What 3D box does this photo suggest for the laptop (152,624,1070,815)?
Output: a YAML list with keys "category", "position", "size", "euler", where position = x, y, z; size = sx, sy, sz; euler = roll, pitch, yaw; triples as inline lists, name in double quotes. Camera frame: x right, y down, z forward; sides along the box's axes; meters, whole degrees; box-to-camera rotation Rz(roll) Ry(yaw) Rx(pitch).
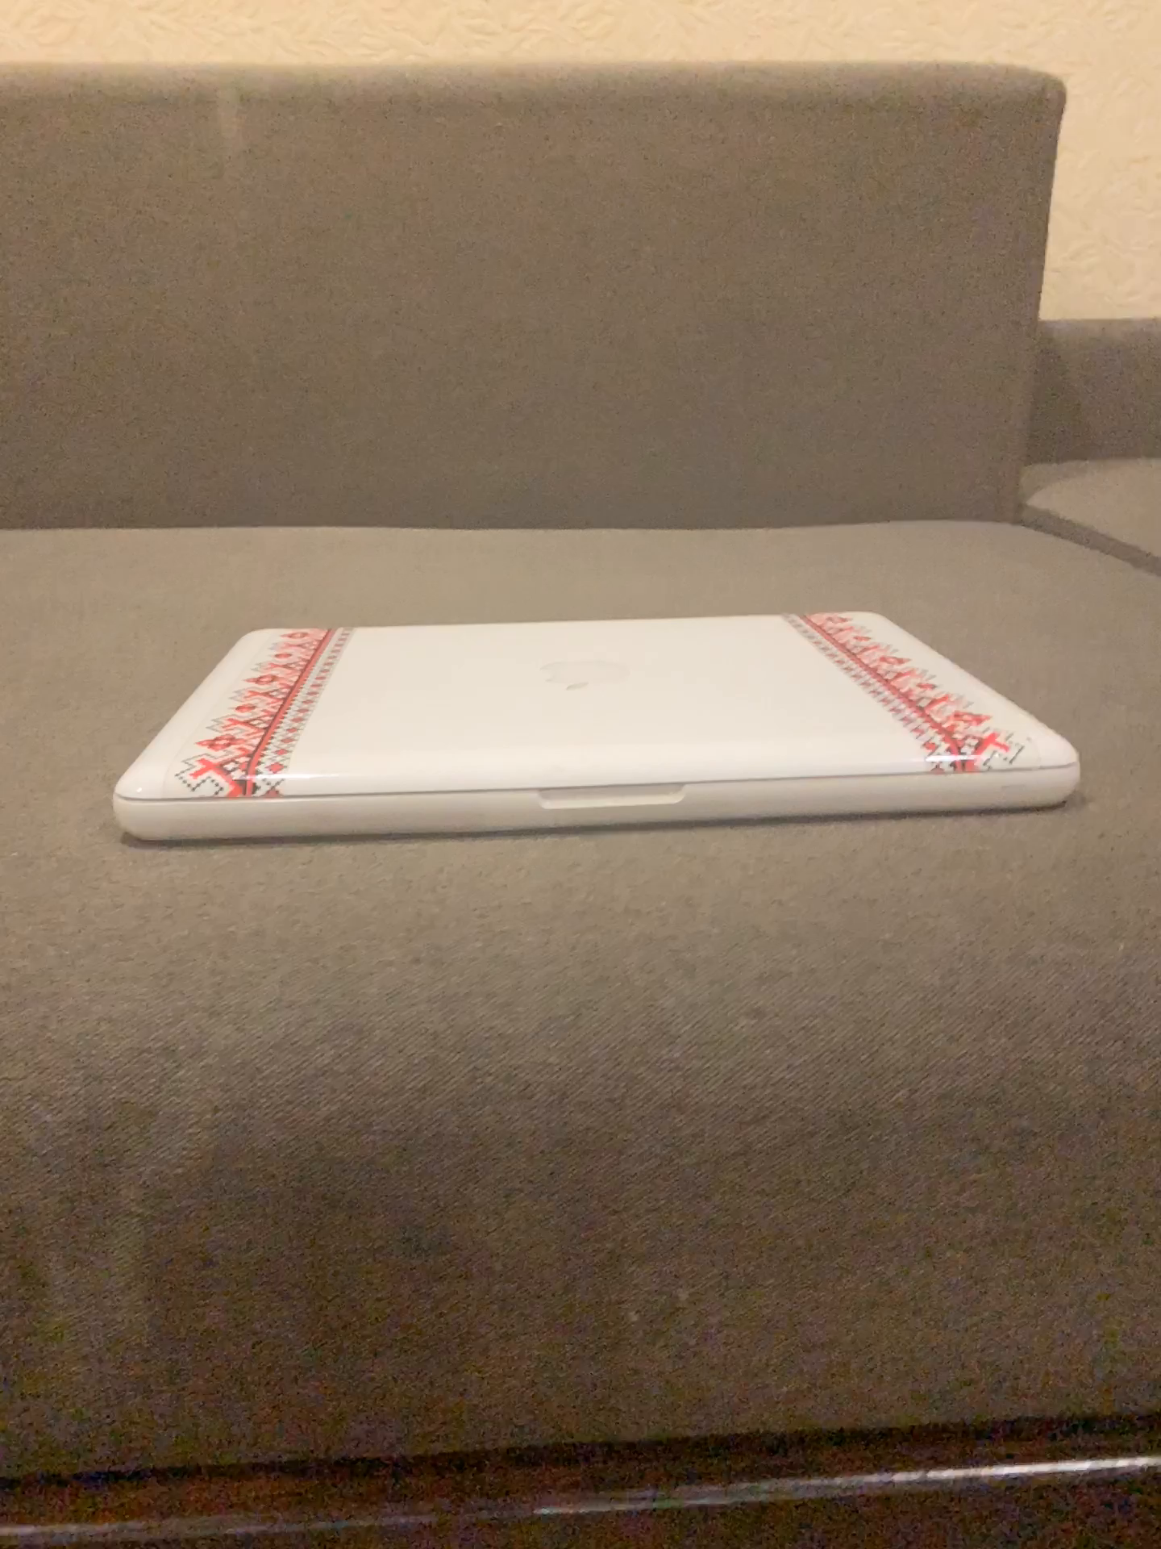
- category: "laptop"
  position: [0.009, -0.033, 0.524]
  size: [0.324, 0.003, 0.223]
  euler: [-2, 21, -5]
